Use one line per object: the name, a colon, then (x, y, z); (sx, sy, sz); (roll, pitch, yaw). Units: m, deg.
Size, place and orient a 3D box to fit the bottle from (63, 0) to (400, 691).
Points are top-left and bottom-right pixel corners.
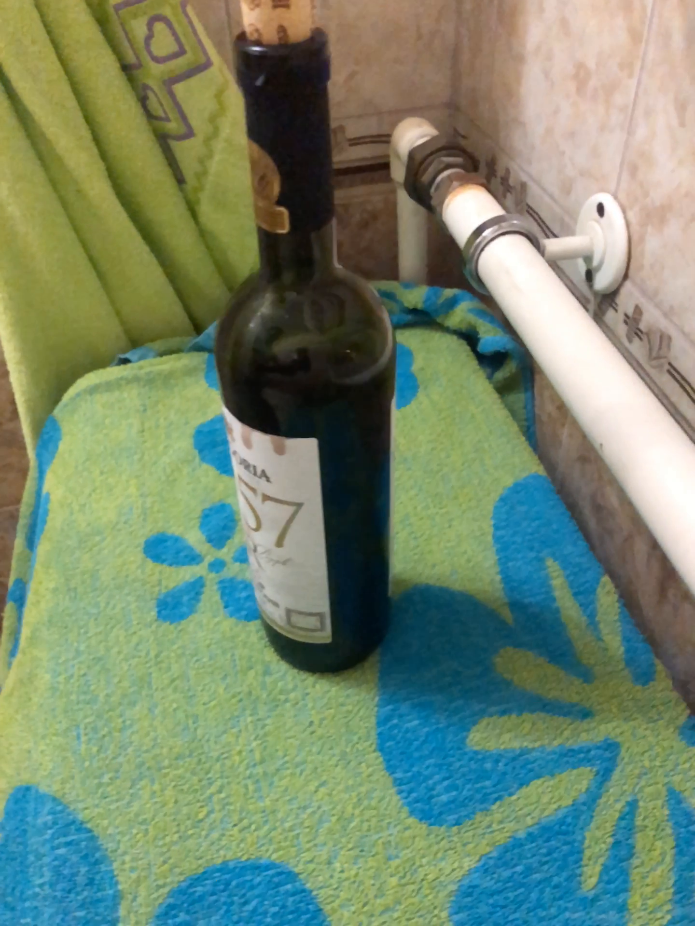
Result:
bottle: (-0.026, -0.031, 0.325); (0.080, 0.318, 0.080); (-2, 42, 2)
